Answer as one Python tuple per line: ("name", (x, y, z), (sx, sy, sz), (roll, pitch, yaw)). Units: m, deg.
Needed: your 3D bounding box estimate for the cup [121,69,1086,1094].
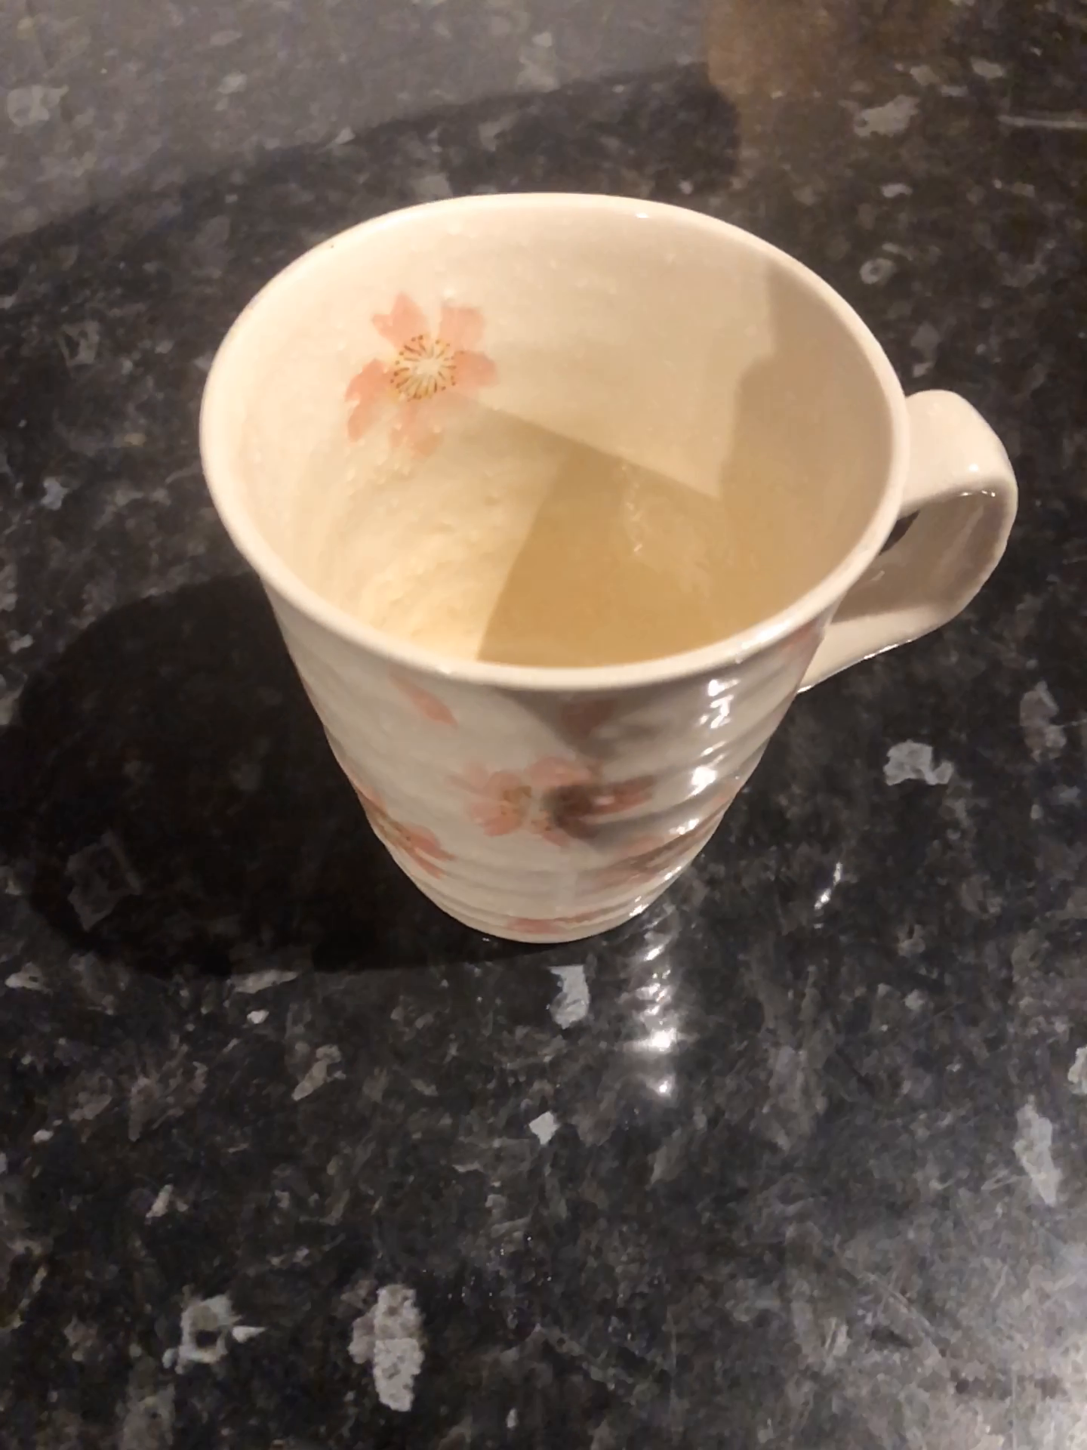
("cup", (0.019, -0.020, 0.190), (0.130, 0.100, 0.090), (-15, 58, -11))
